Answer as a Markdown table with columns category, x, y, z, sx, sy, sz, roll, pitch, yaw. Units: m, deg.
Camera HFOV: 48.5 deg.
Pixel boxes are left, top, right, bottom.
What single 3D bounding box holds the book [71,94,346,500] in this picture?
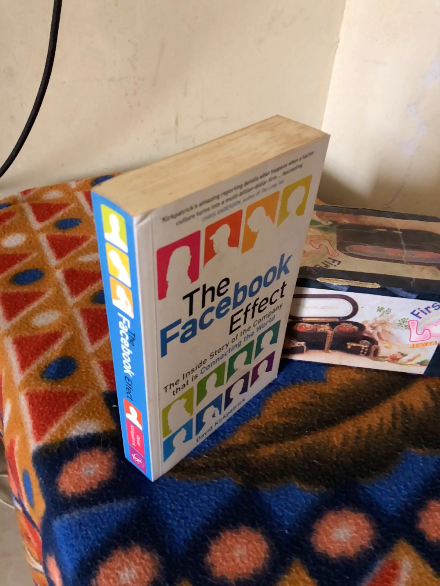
| category | x | y | z | sx | sy | sz | roll | pitch | yaw |
| --- | --- | --- | --- | --- | --- | --- | --- | --- | --- |
| book | -0.001 | 0.008 | 0.305 | 0.040 | 0.219 | 0.150 | 32 | 46 | 31 |
